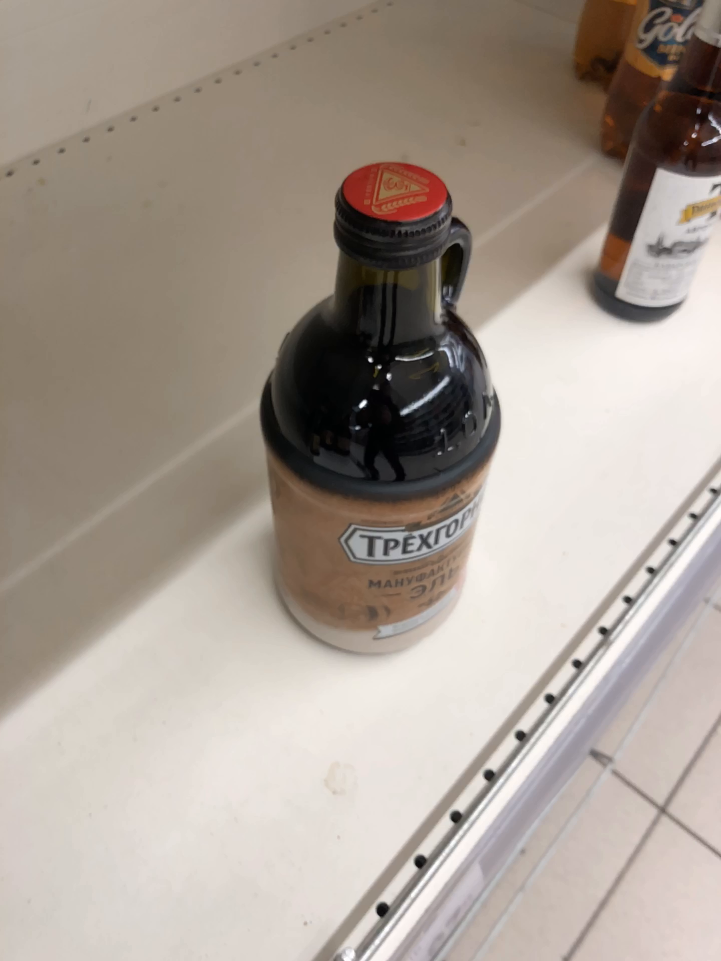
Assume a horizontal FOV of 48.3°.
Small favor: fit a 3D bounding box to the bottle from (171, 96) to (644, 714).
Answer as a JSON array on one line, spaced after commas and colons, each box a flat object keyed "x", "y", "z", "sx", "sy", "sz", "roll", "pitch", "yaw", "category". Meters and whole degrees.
[{"x": 0.011, "y": -0.016, "z": 0.340, "sx": 0.110, "sy": 0.225, "sz": 0.100, "roll": 1, "pitch": 52, "yaw": -1, "category": "bottle"}]
